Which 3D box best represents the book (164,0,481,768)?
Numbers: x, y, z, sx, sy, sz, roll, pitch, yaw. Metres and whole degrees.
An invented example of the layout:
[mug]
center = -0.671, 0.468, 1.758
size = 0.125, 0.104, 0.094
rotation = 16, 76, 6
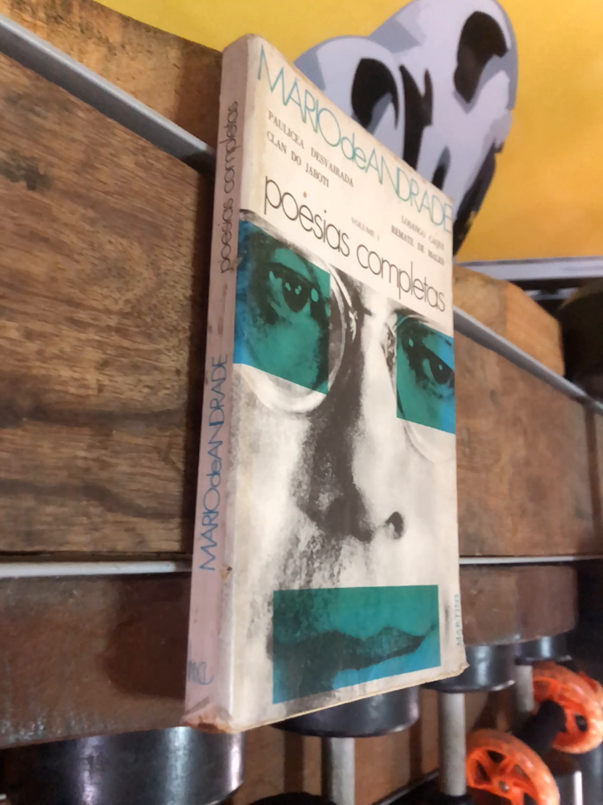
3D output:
[book]
center = 0.022, -0.006, 0.234
size = 0.141, 0.020, 0.210
rotation = 18, 70, -50
